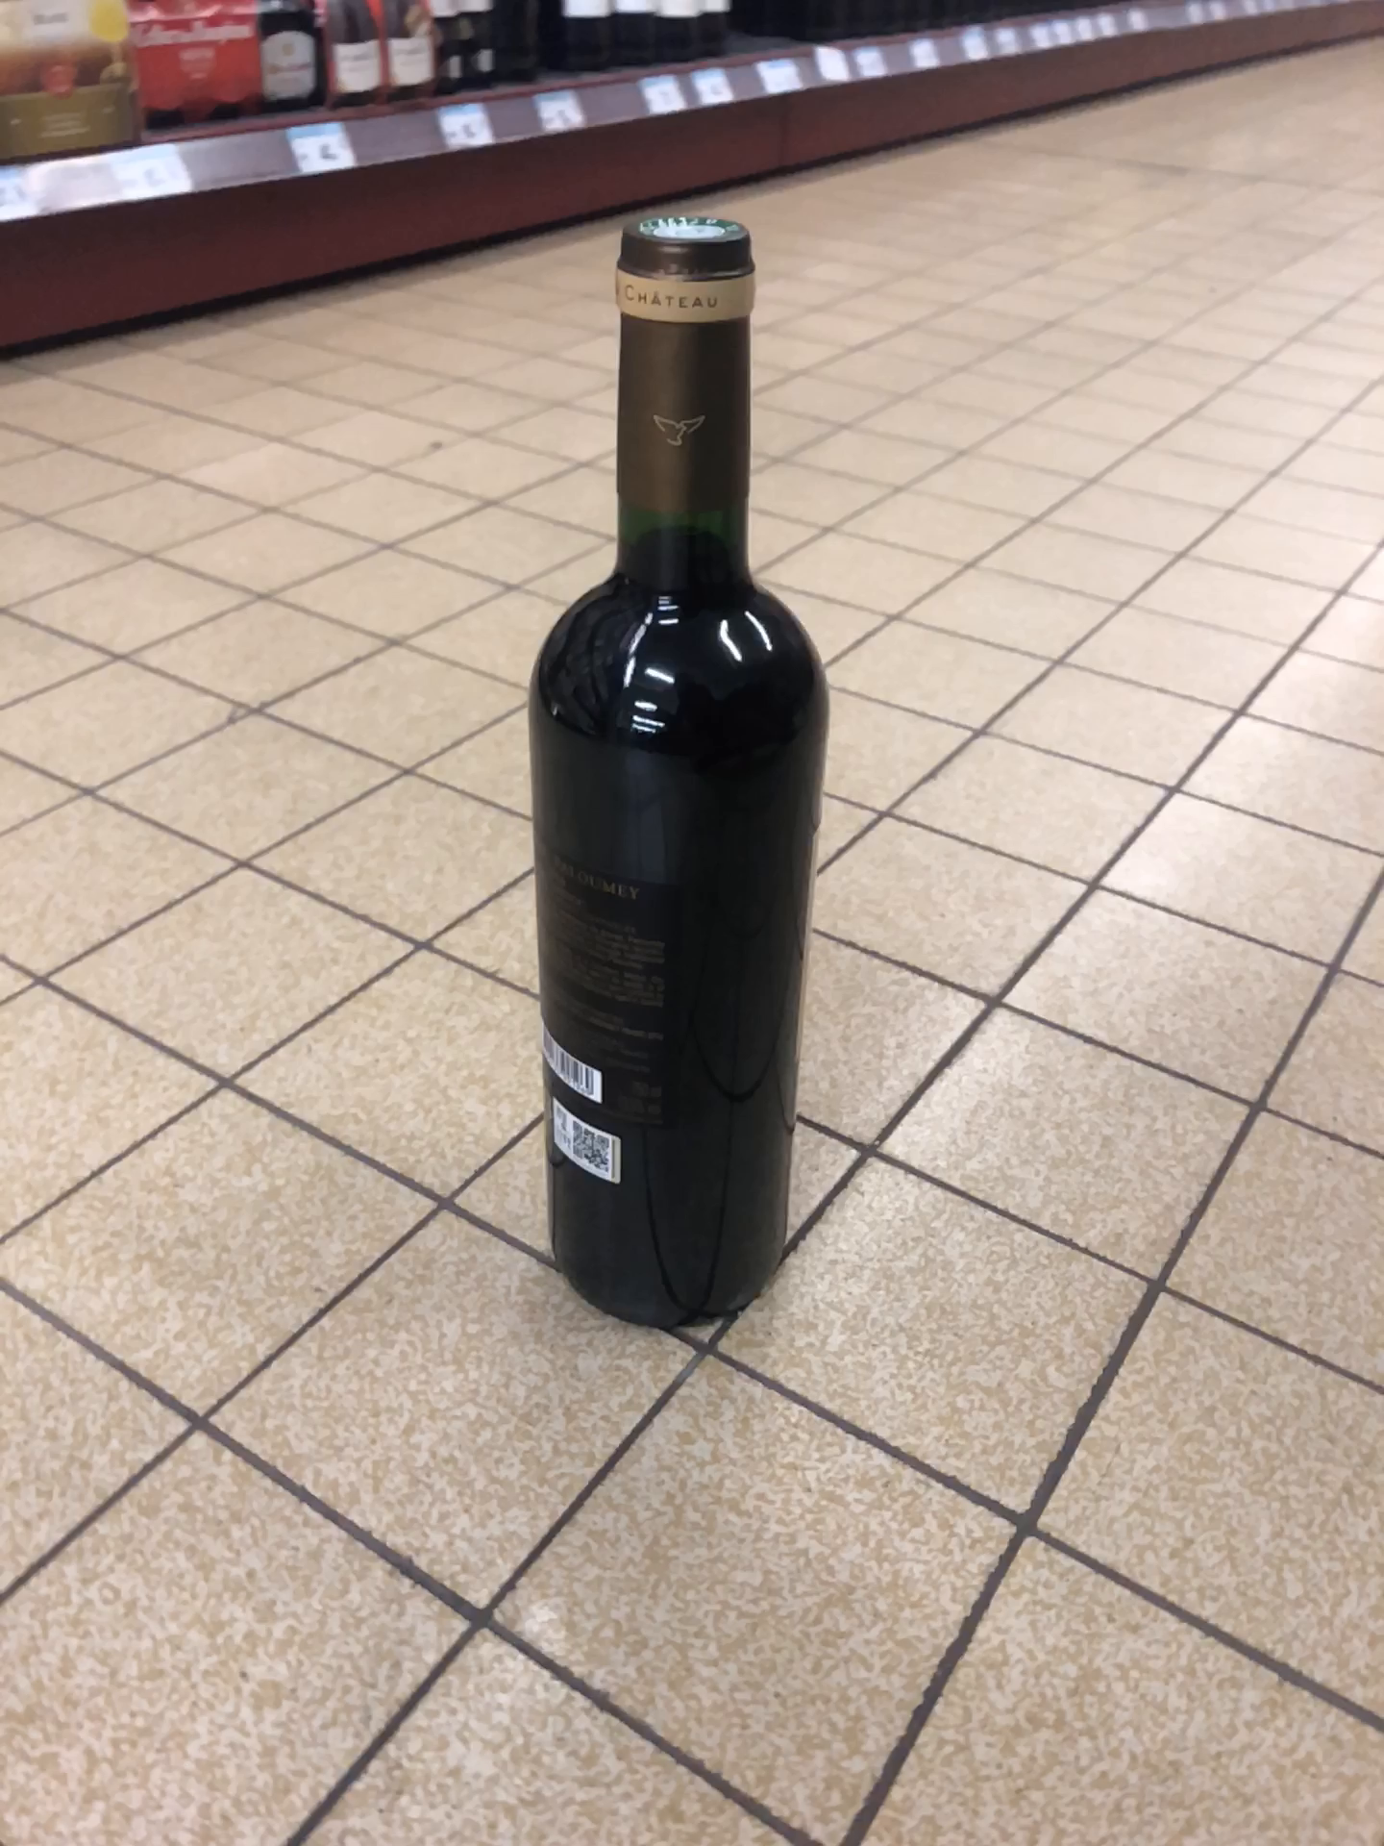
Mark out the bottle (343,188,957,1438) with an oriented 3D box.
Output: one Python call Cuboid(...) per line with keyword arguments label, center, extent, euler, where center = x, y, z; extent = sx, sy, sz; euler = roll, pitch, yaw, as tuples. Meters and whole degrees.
Cuboid(label="bottle", center=(-0.013, -0.015, 0.380), extent=(0.091, 0.288, 0.080), euler=(-27, 44, -36))
